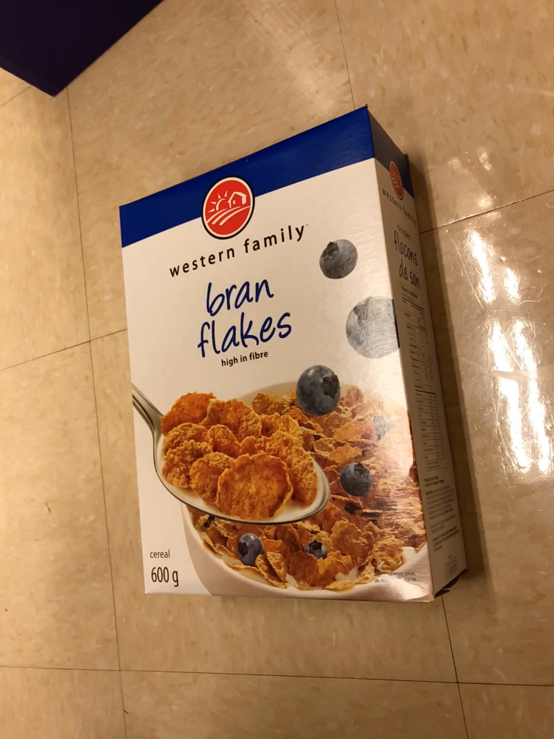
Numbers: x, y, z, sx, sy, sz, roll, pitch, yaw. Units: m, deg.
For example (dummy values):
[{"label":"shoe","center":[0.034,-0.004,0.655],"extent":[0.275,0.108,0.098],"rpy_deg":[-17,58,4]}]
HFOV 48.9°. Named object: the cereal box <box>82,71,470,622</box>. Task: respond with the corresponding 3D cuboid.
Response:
[{"label":"cereal box","center":[-0.013,-0.001,0.418],"extent":[0.221,0.090,0.300],"rpy_deg":[-11,80,30]}]
